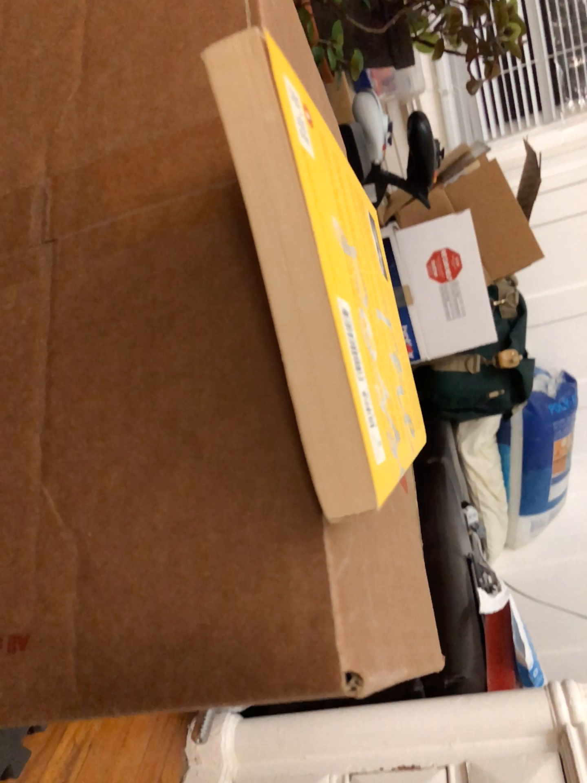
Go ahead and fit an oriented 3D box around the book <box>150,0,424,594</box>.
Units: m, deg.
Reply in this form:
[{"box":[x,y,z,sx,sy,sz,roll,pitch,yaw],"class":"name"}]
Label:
[{"box":[0.018,-0.027,0.262,0.211,0.020,0.150,-4,81,-74],"class":"book"}]
